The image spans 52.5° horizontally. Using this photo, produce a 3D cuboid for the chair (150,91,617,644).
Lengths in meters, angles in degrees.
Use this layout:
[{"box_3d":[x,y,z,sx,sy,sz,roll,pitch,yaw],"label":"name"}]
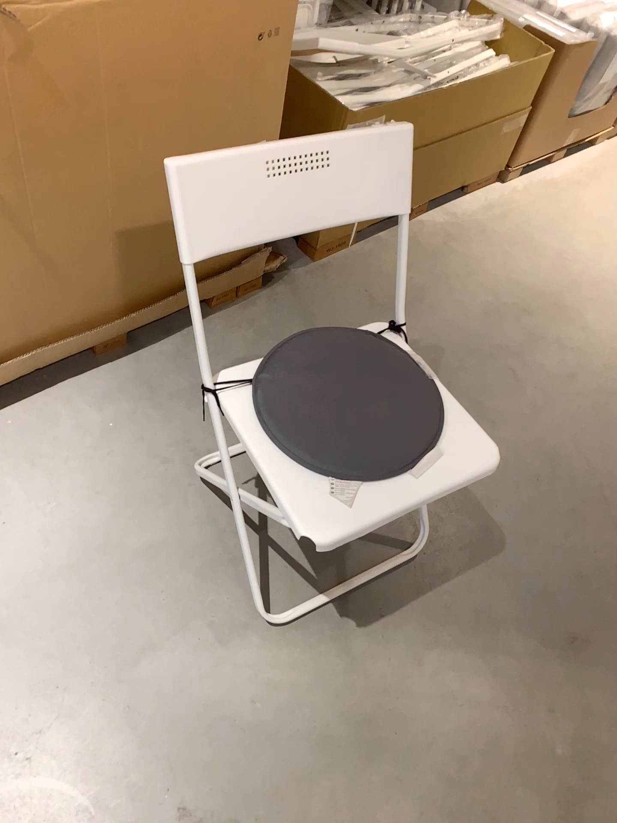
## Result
[{"box_3d":[0.062,-0.038,1.076,0.491,0.738,0.481,-19,60,-24],"label":"chair"}]
